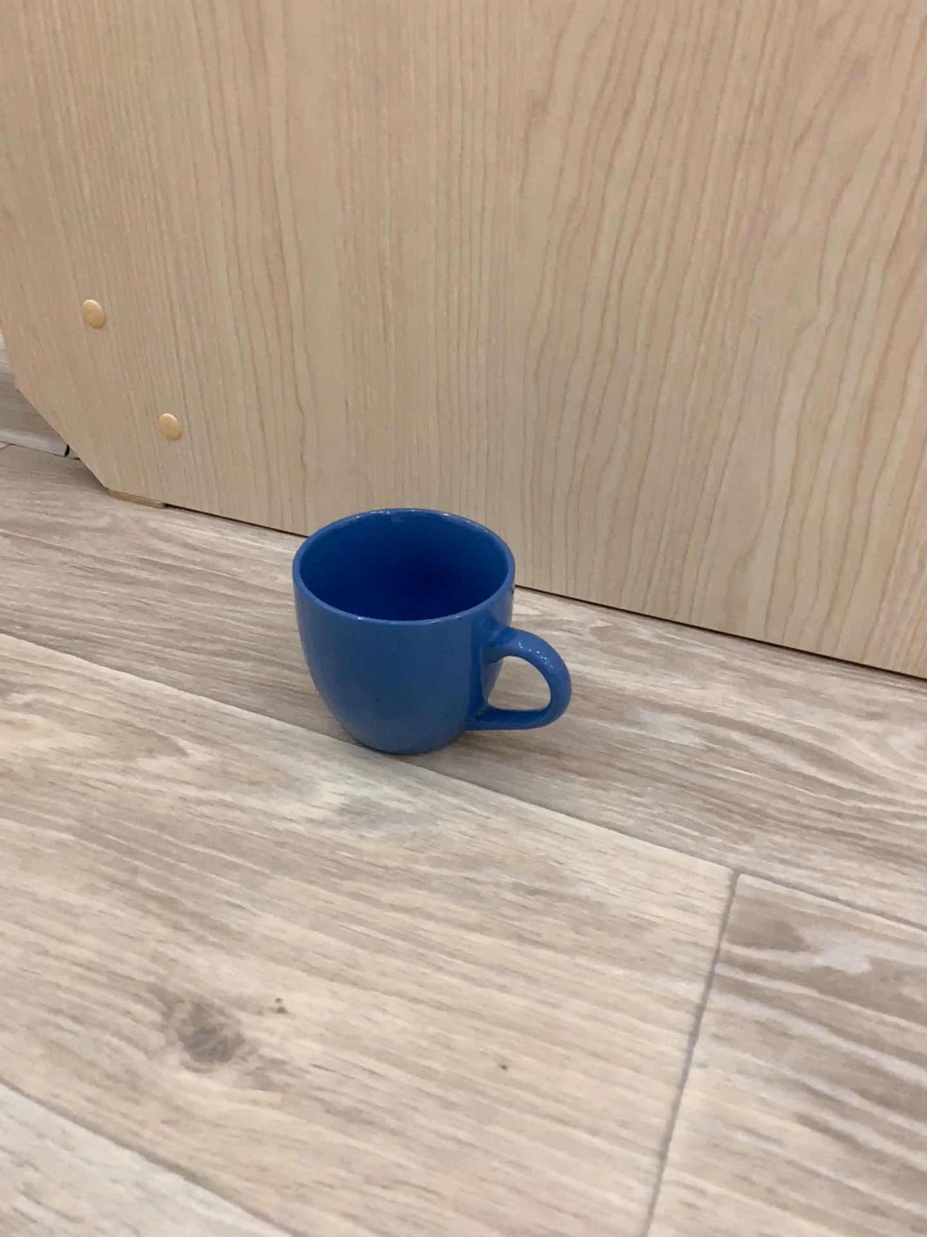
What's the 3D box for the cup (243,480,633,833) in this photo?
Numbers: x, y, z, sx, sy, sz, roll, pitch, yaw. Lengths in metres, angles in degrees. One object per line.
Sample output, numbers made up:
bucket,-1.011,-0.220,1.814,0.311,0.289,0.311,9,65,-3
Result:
cup,-0.009,0.009,0.363,0.118,0.074,0.078,18,36,23
